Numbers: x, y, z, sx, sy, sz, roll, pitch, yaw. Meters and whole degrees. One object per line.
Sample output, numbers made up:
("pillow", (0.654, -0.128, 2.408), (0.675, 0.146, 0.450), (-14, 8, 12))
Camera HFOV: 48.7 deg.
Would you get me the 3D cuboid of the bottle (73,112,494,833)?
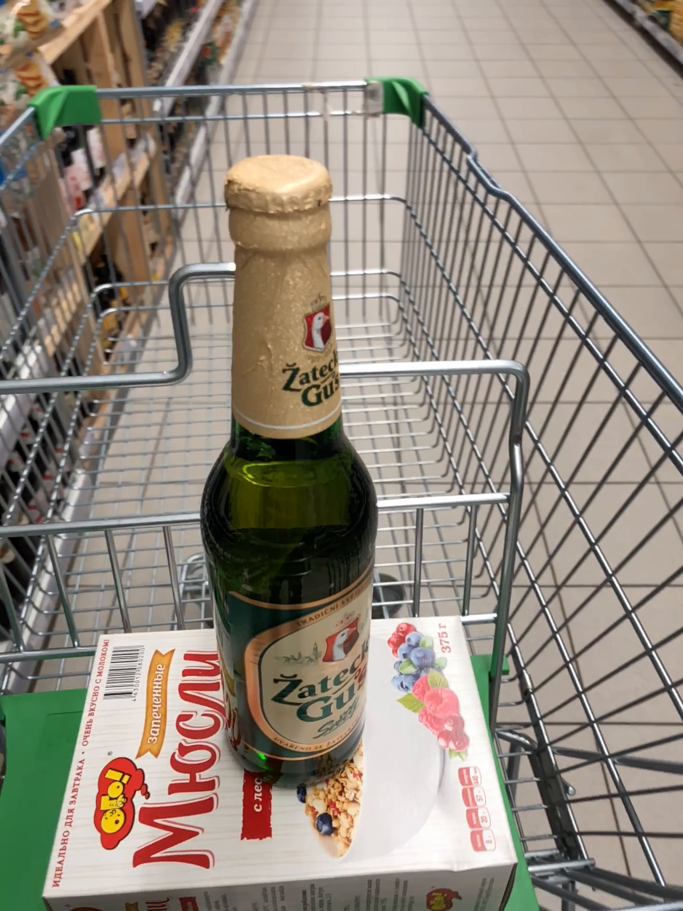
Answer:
("bottle", (-0.018, 0.031, 0.278), (0.080, 0.269, 0.070), (-24, 48, -25))
